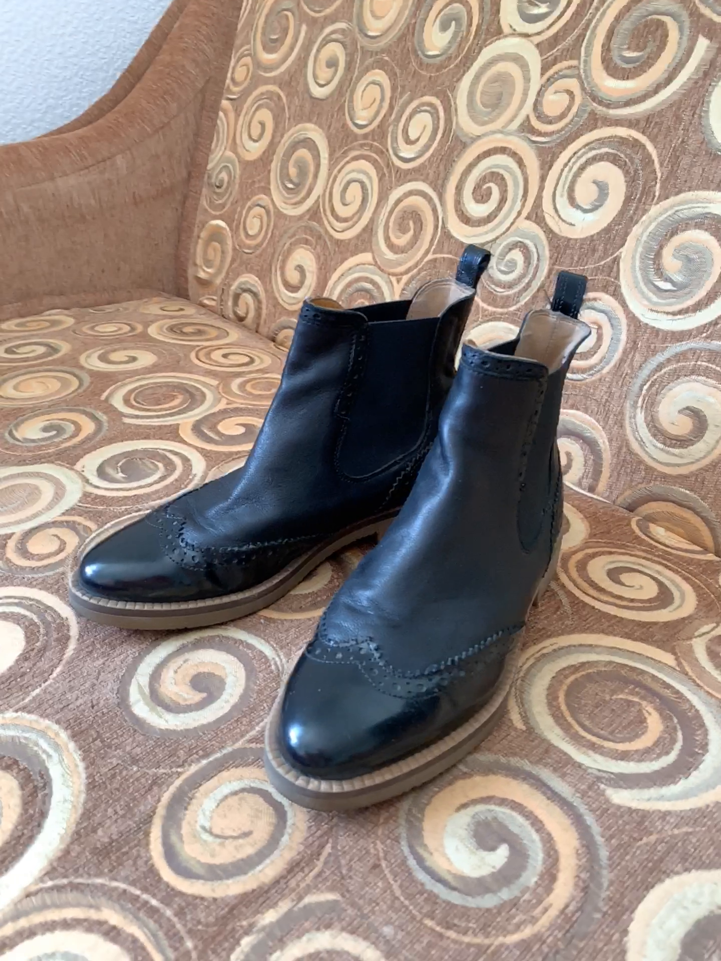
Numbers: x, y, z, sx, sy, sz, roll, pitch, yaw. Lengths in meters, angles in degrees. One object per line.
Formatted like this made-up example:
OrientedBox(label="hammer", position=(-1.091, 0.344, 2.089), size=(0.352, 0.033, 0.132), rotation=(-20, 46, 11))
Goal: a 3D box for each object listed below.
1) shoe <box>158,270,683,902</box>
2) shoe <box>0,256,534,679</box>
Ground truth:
OrientedBox(label="shoe", position=(0.054, 0.012, 0.355), size=(0.100, 0.139, 0.291), rotation=(19, 36, 27))
OrientedBox(label="shoe", position=(-0.044, -0.021, 0.392), size=(0.240, 0.139, 0.100), rotation=(-16, 35, -25))
